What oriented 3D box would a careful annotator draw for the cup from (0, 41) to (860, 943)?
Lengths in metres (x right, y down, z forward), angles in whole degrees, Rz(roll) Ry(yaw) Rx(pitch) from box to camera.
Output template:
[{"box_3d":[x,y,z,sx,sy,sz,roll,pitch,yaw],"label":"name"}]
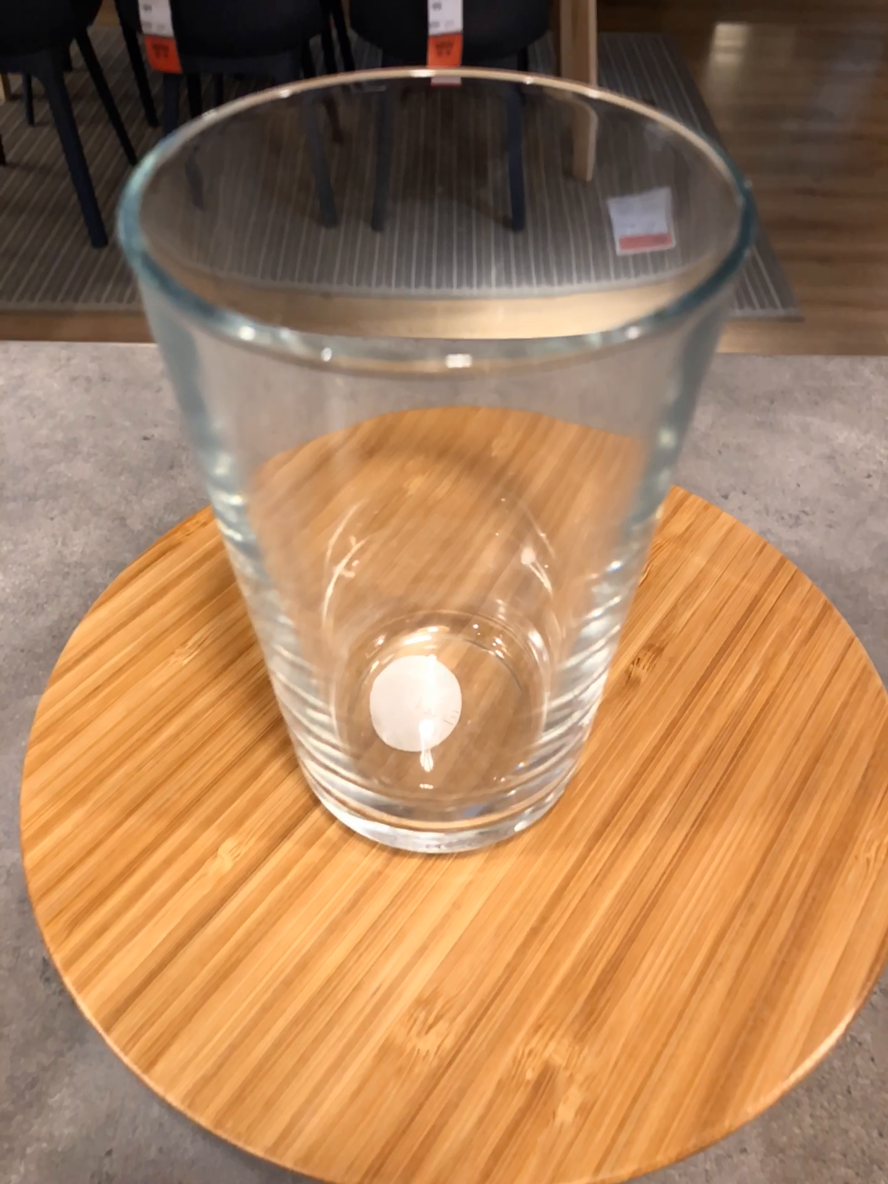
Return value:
[{"box_3d":[-0.008,-0.016,0.197,0.100,0.140,0.100,1,45,-1],"label":"cup"}]
